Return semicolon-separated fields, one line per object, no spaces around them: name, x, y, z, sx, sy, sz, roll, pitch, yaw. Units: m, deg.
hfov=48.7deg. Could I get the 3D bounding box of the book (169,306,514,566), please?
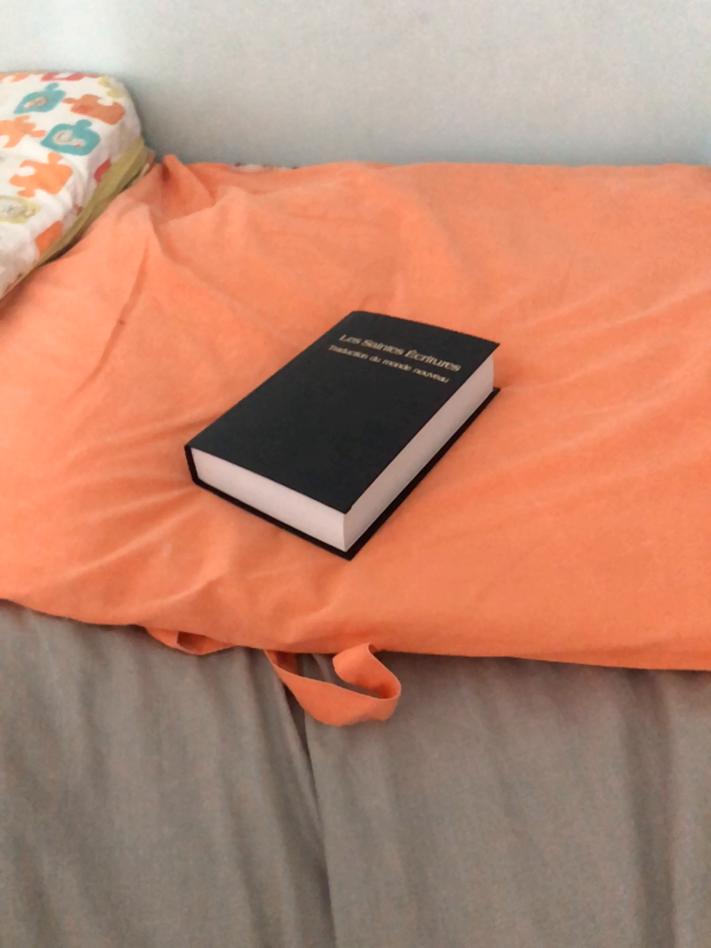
book;-0.003;-0.035;0.473;0.126;0.030;0.174;20;50;32
